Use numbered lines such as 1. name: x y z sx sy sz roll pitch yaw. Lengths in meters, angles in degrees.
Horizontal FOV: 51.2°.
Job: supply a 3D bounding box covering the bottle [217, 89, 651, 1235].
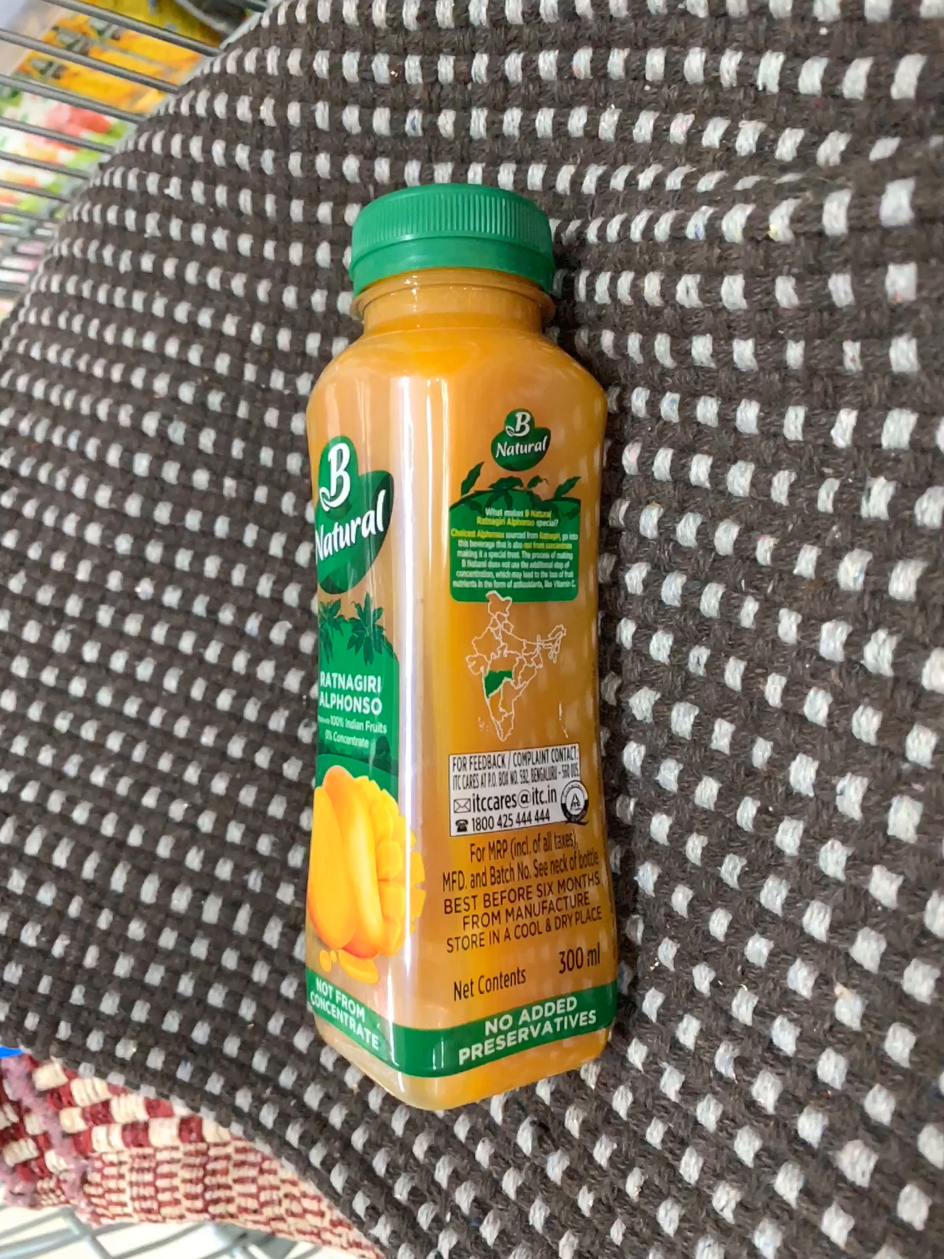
1. bottle: -0.008 0.005 0.176 0.060 0.050 0.160 3 95 53
